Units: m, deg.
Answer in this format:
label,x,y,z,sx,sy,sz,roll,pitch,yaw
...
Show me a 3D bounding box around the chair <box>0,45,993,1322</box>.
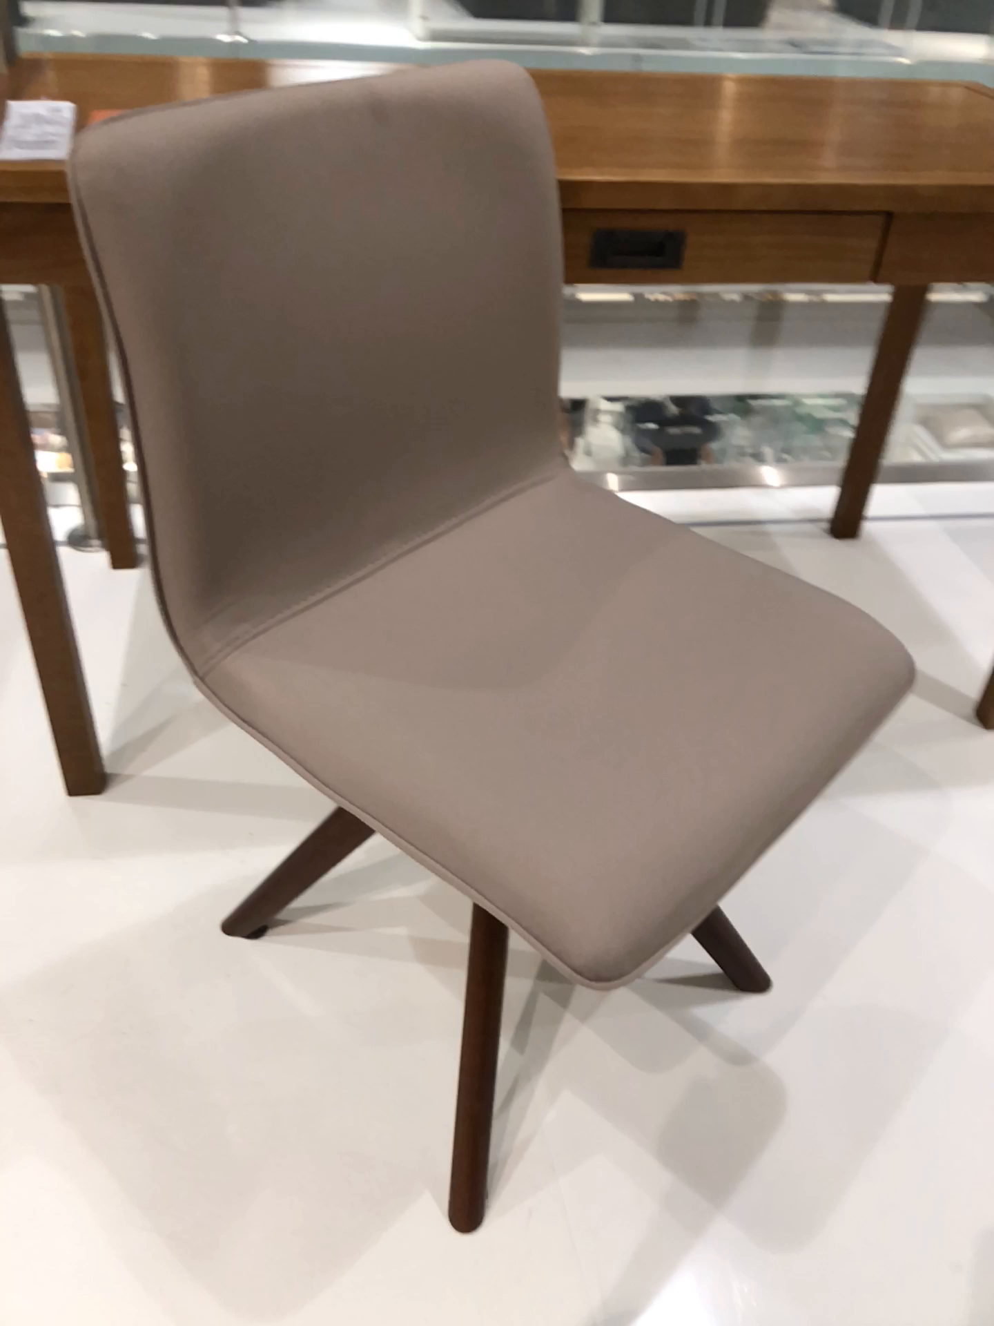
label,x,y,z,sx,sy,sz,roll,pitch,yaw
chair,0.030,-0.015,0.968,0.531,0.833,0.543,28,43,29
